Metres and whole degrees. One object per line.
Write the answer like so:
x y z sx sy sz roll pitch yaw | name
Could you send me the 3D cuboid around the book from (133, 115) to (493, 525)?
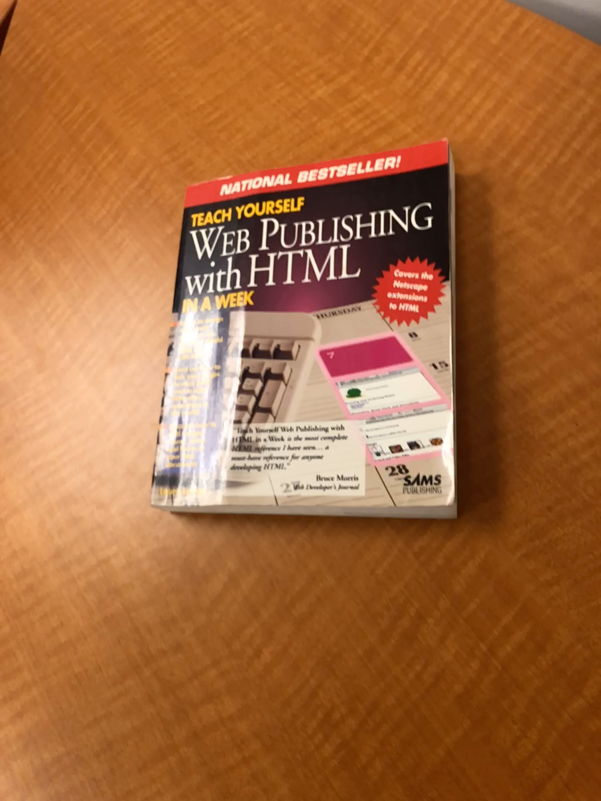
0.010 -0.050 0.431 0.210 0.040 0.250 -2 72 18 | book
